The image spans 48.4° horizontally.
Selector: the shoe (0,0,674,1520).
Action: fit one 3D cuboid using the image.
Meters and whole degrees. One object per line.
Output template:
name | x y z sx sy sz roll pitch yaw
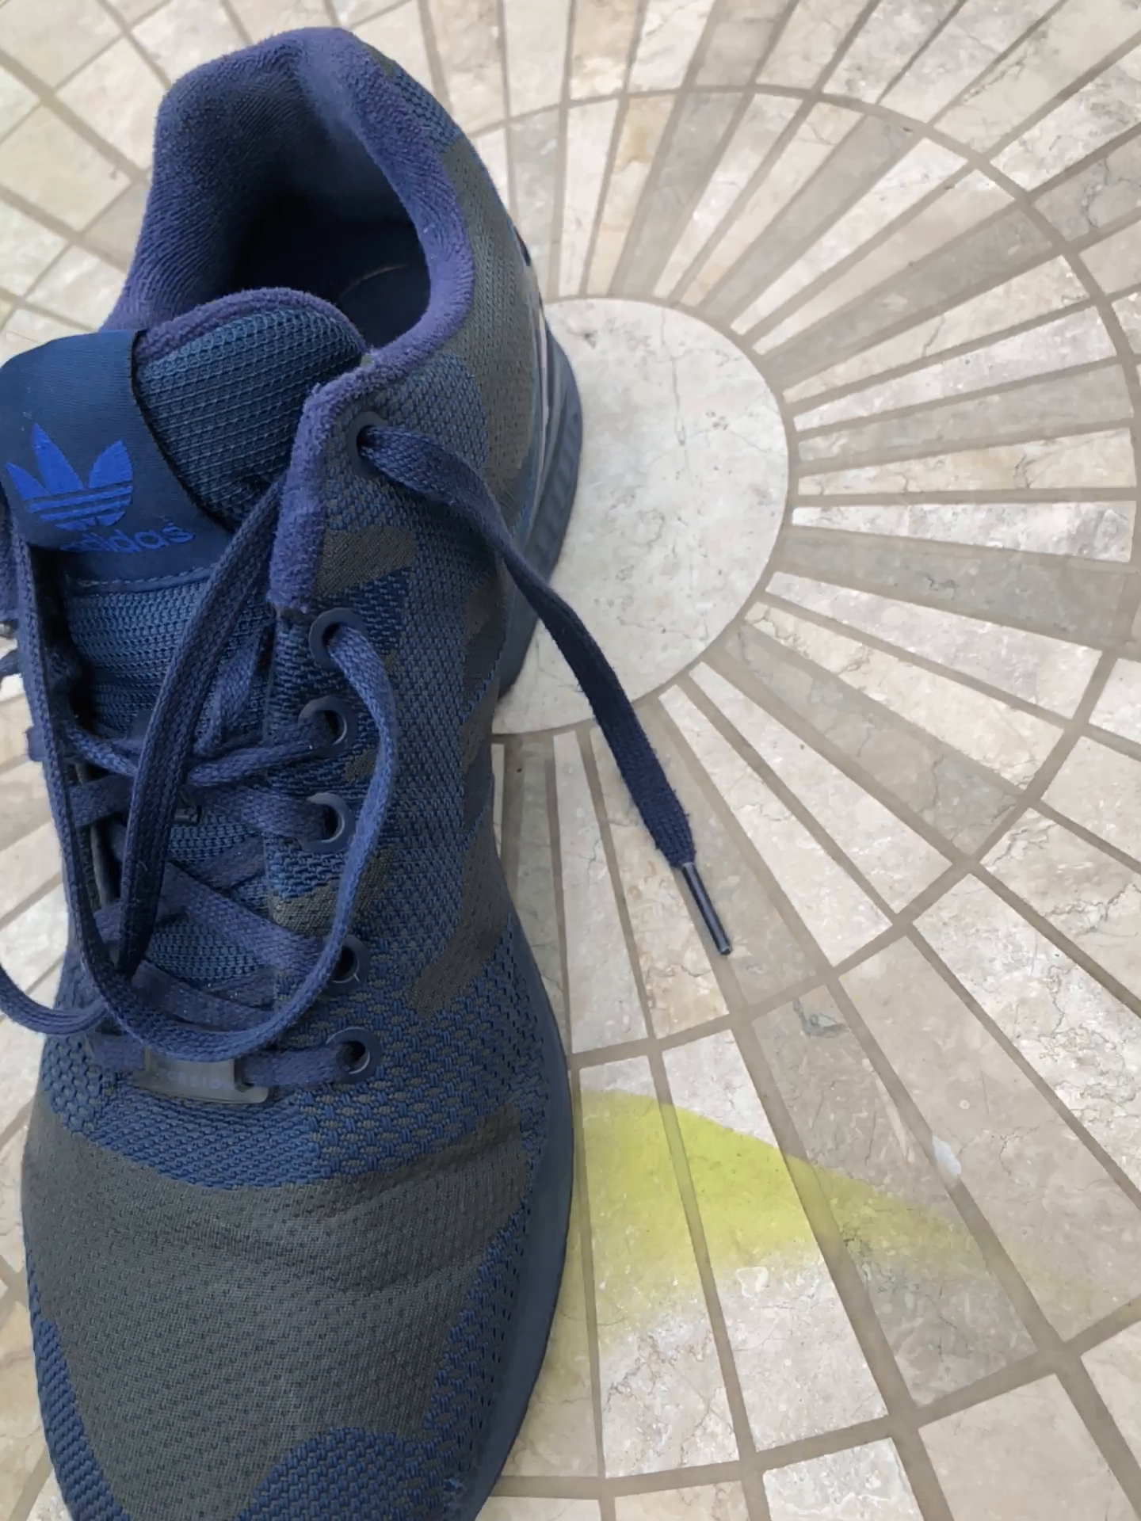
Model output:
shoe | -0.059 0.006 0.239 0.110 0.110 0.281 0 69 19
